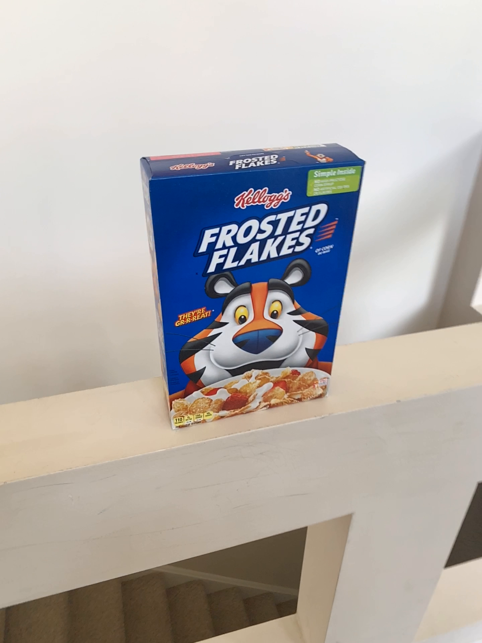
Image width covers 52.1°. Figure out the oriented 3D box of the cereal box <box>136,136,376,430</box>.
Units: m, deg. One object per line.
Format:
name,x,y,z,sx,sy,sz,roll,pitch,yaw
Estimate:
cereal box,0.010,-0.030,0.513,0.200,0.288,0.060,-9,36,-14
